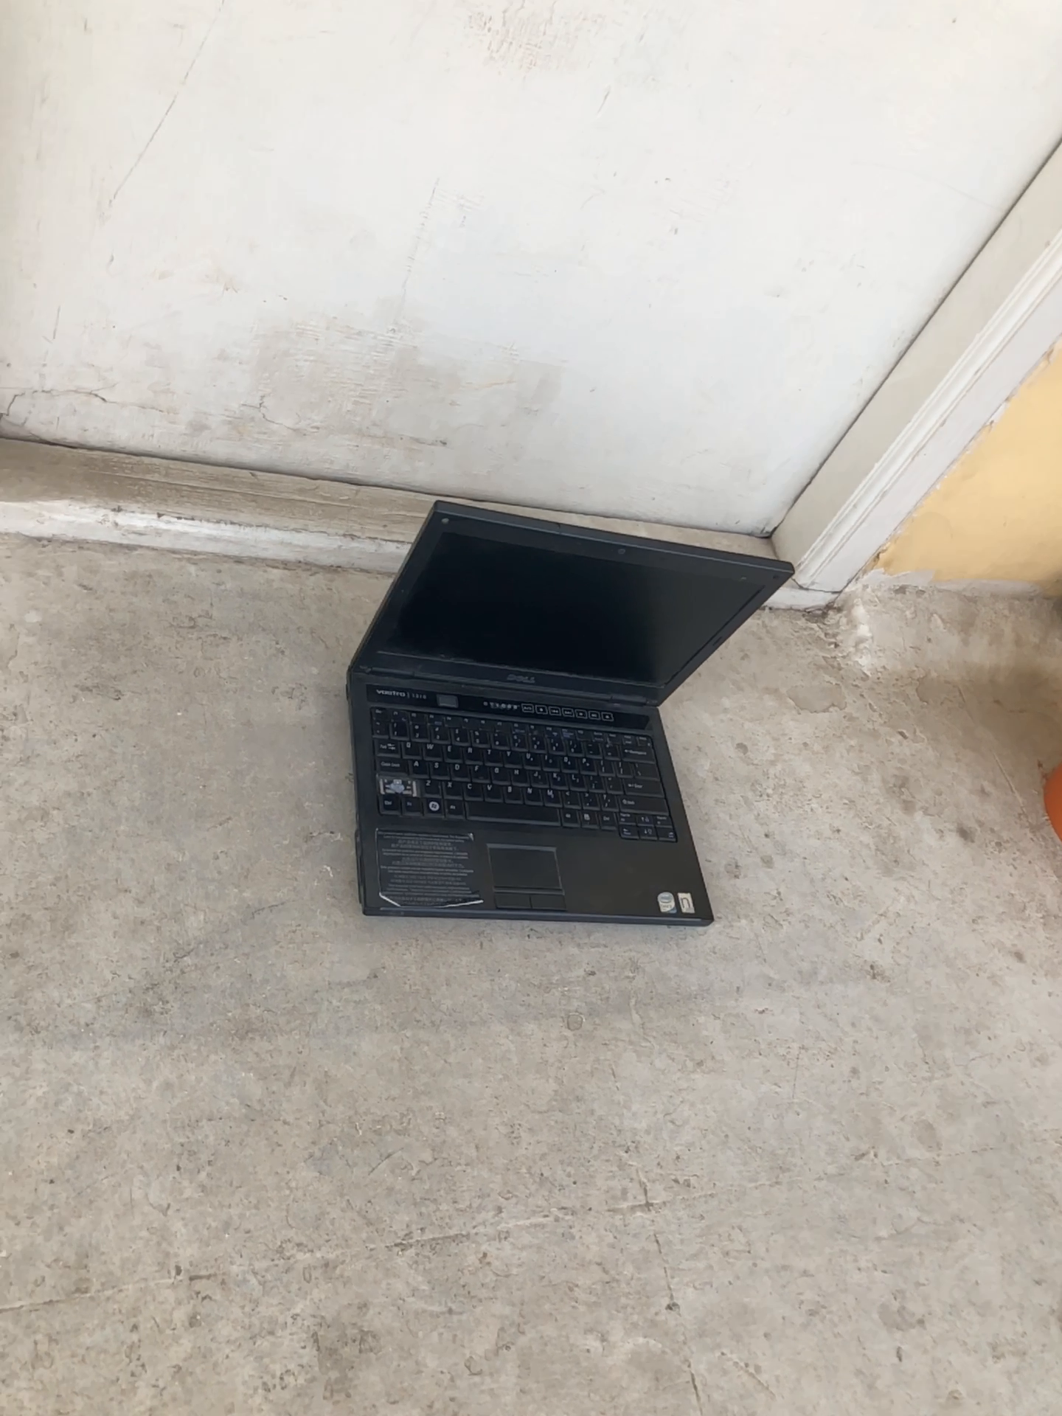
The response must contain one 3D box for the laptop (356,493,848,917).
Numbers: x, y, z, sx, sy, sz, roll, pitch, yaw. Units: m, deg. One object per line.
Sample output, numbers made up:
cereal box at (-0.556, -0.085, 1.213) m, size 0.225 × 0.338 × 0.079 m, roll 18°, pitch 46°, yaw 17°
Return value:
laptop at (0.039, 0.011, 0.921) m, size 0.293 × 0.219 × 0.214 m, roll 6°, pitch 52°, yaw -22°
